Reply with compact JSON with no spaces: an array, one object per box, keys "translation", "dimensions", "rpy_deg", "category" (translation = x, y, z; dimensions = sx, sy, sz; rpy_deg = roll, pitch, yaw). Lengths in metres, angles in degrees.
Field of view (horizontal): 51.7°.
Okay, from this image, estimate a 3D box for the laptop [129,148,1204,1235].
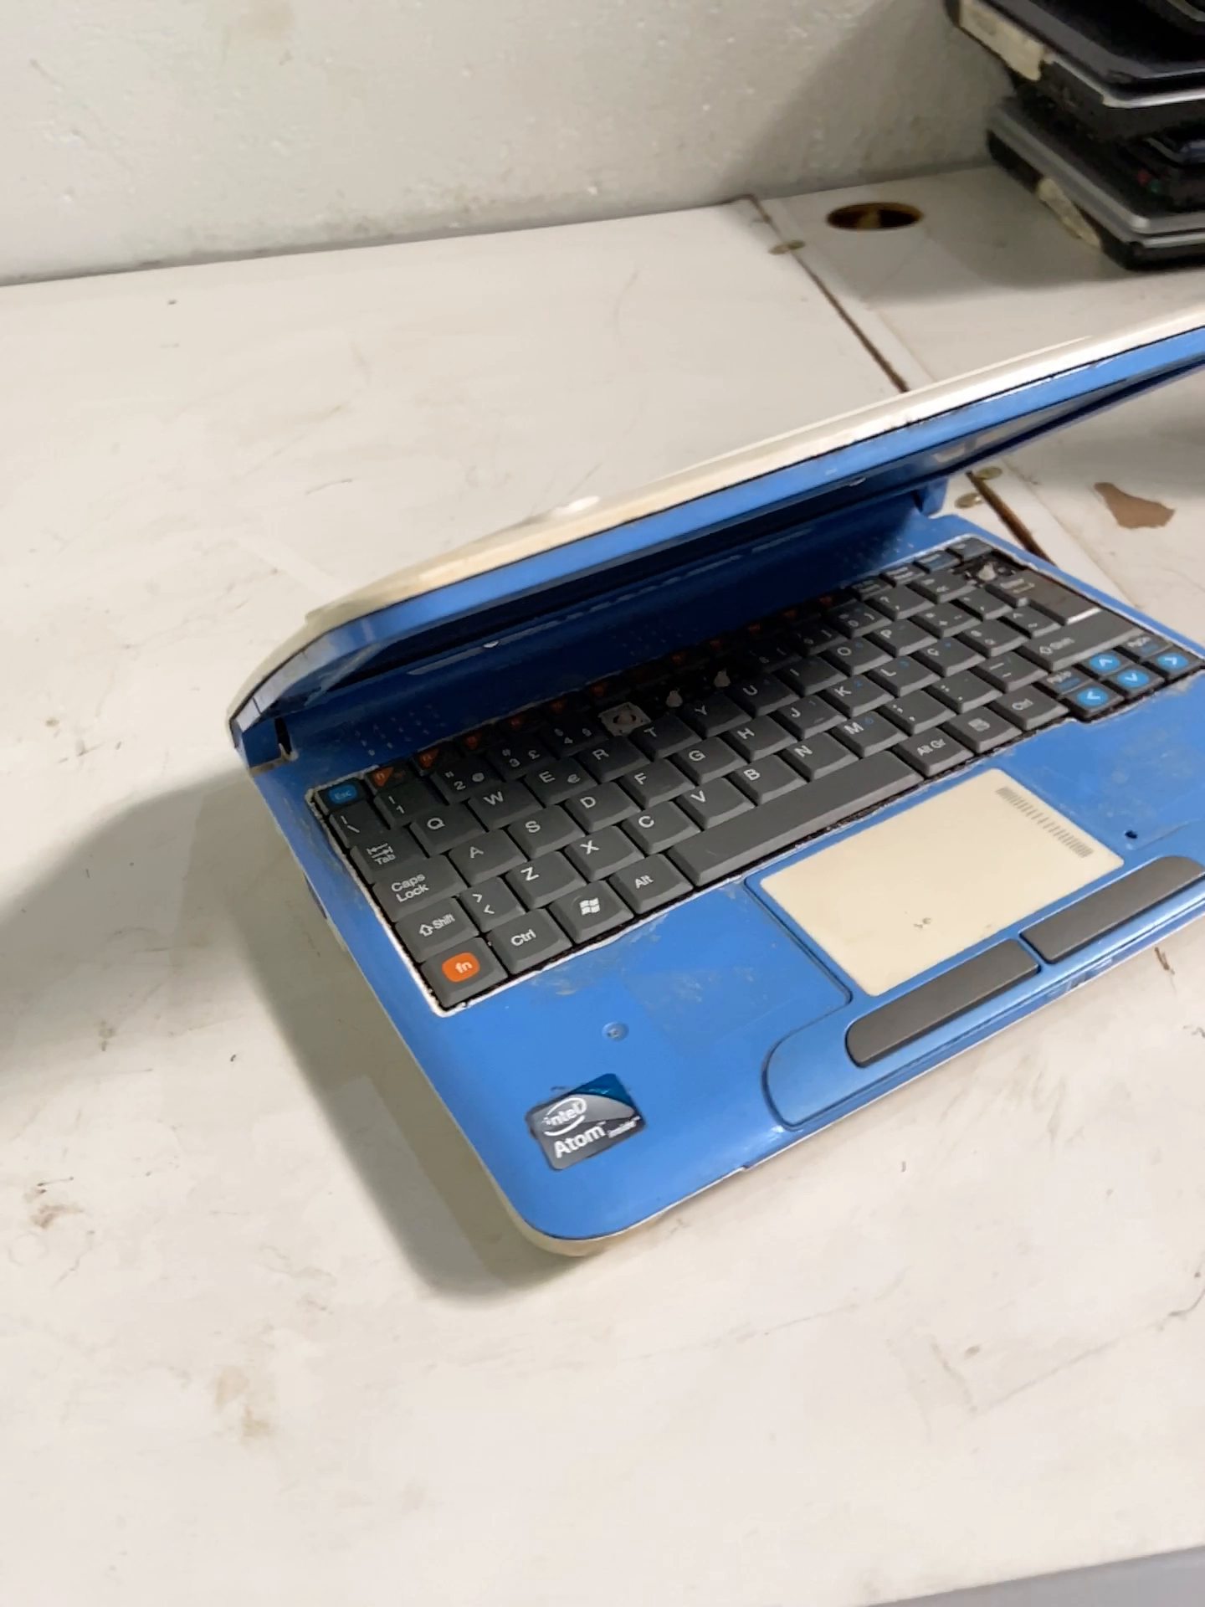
[{"translation":[0.047,-0.055,0.301],"dimensions":[0.247,0.116,0.182],"rpy_deg":[-23,43,-18],"category":"laptop"}]
